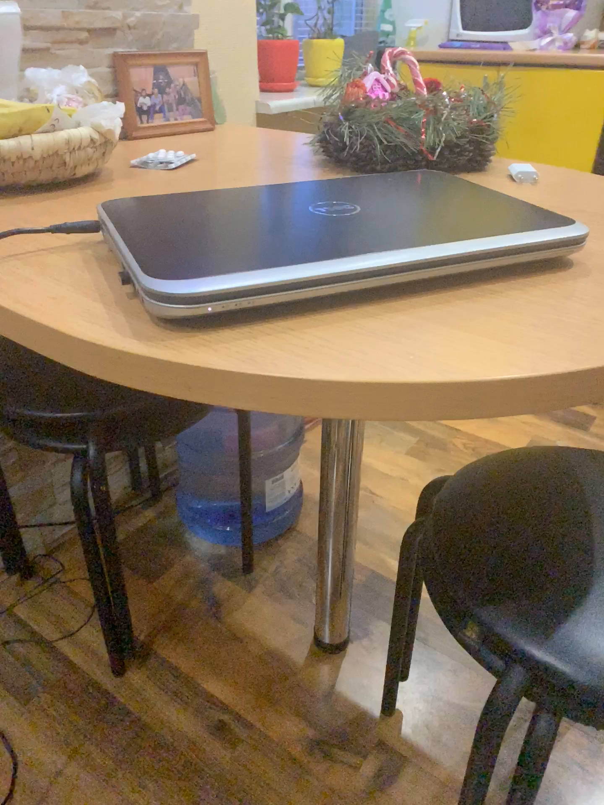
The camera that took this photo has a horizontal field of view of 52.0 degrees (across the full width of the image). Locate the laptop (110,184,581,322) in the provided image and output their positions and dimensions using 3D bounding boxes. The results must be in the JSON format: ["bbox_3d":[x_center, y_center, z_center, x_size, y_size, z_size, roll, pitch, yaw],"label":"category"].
[{"bbox_3d":[0.027,-0.147,0.545,0.349,0.004,0.226,-12,36,-19],"label":"laptop"}]
